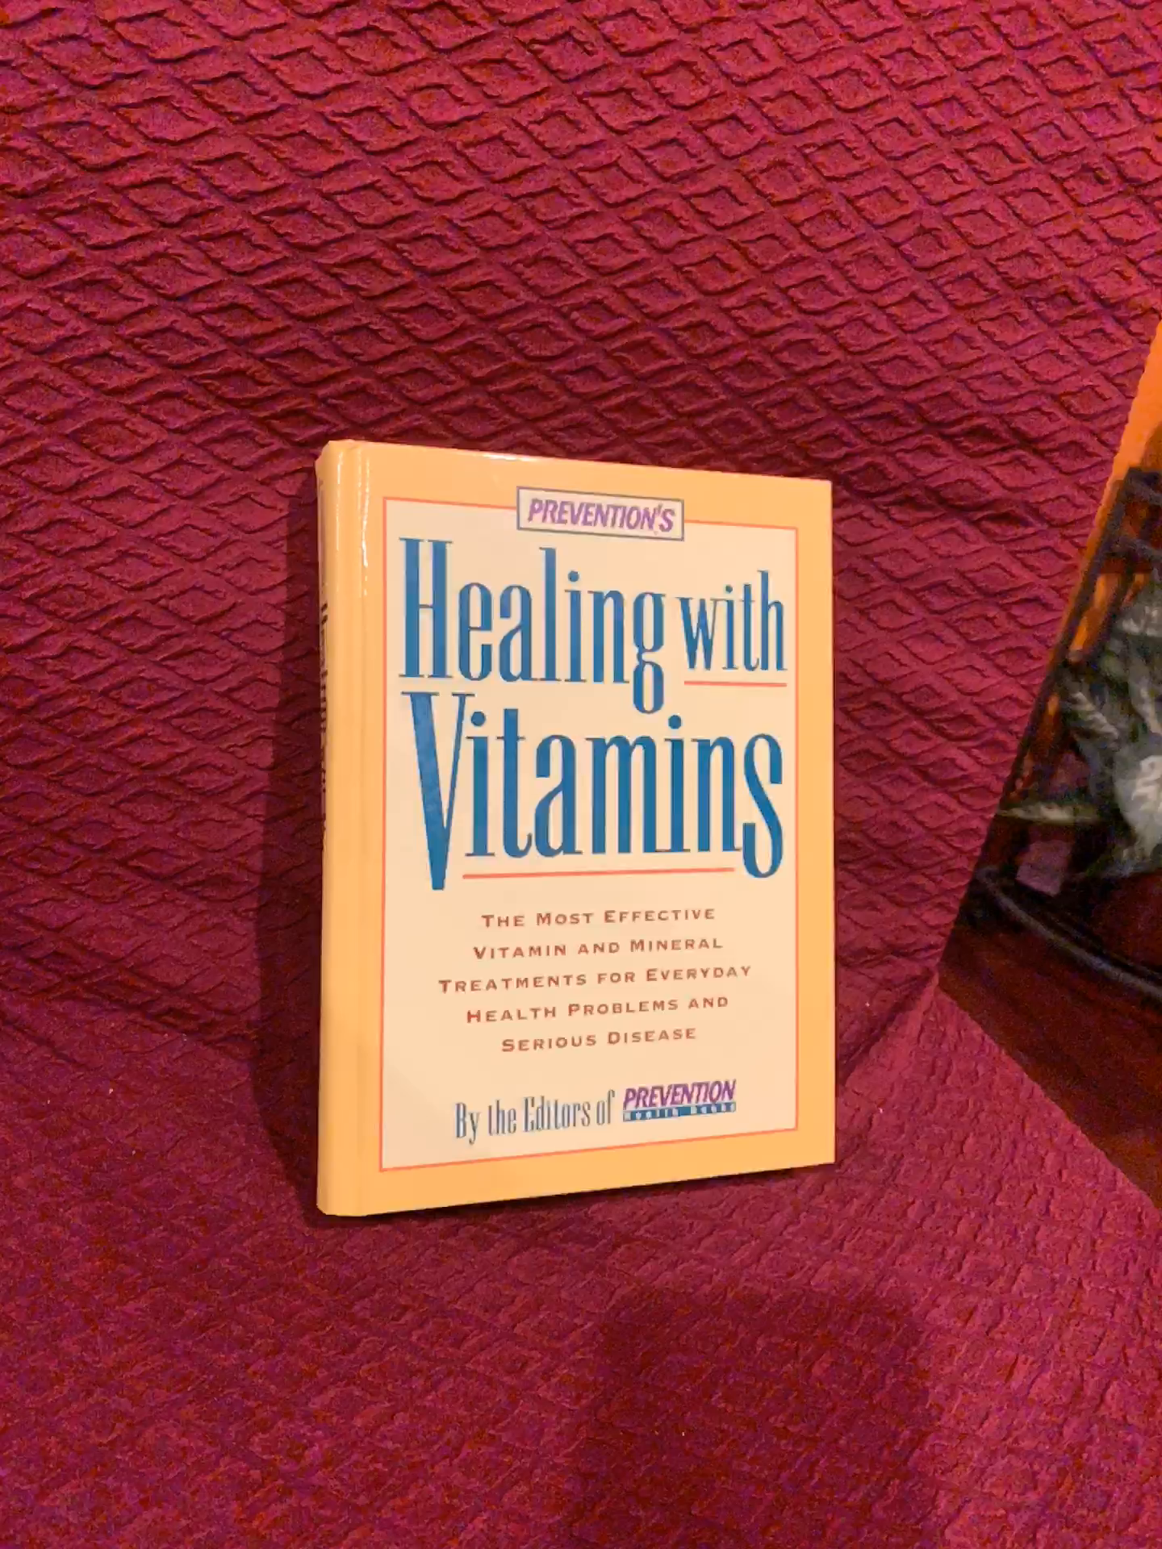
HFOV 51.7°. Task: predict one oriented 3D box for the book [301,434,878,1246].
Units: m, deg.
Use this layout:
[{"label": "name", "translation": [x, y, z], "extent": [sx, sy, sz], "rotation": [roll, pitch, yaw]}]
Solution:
[{"label": "book", "translation": [0.005, 0.019, 0.402], "extent": [0.190, 0.240, 0.040], "rotation": [0, 0, -18]}]
